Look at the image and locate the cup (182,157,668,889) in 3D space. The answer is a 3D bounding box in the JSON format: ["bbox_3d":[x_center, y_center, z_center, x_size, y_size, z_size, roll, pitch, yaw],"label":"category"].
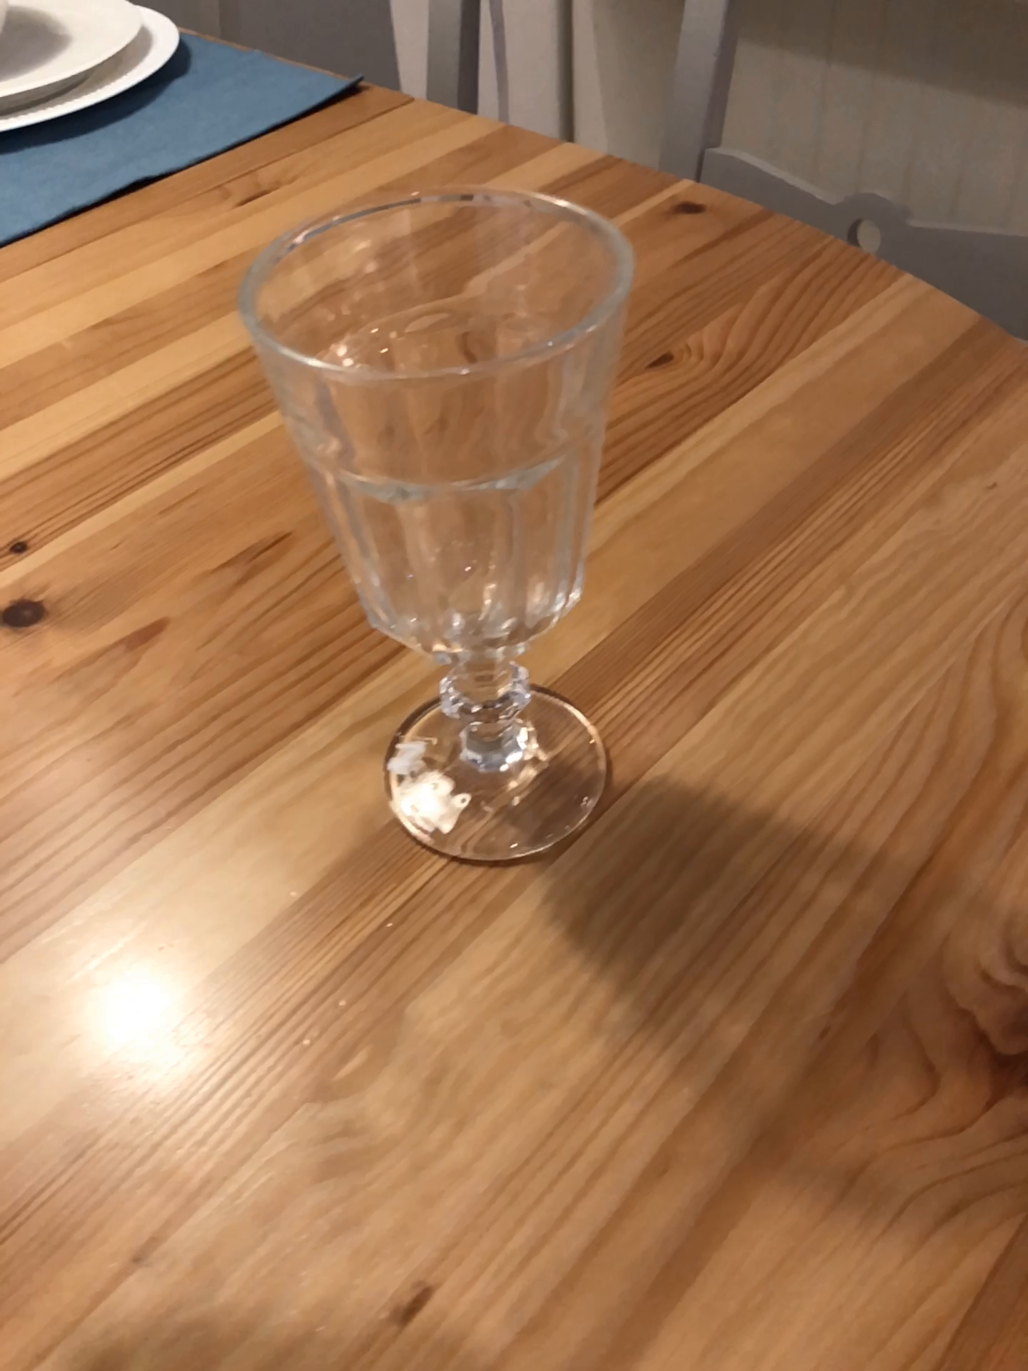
[{"bbox_3d":[-0.015,-0.031,0.265,0.080,0.140,0.080,-2,46,3],"label":"cup"}]
